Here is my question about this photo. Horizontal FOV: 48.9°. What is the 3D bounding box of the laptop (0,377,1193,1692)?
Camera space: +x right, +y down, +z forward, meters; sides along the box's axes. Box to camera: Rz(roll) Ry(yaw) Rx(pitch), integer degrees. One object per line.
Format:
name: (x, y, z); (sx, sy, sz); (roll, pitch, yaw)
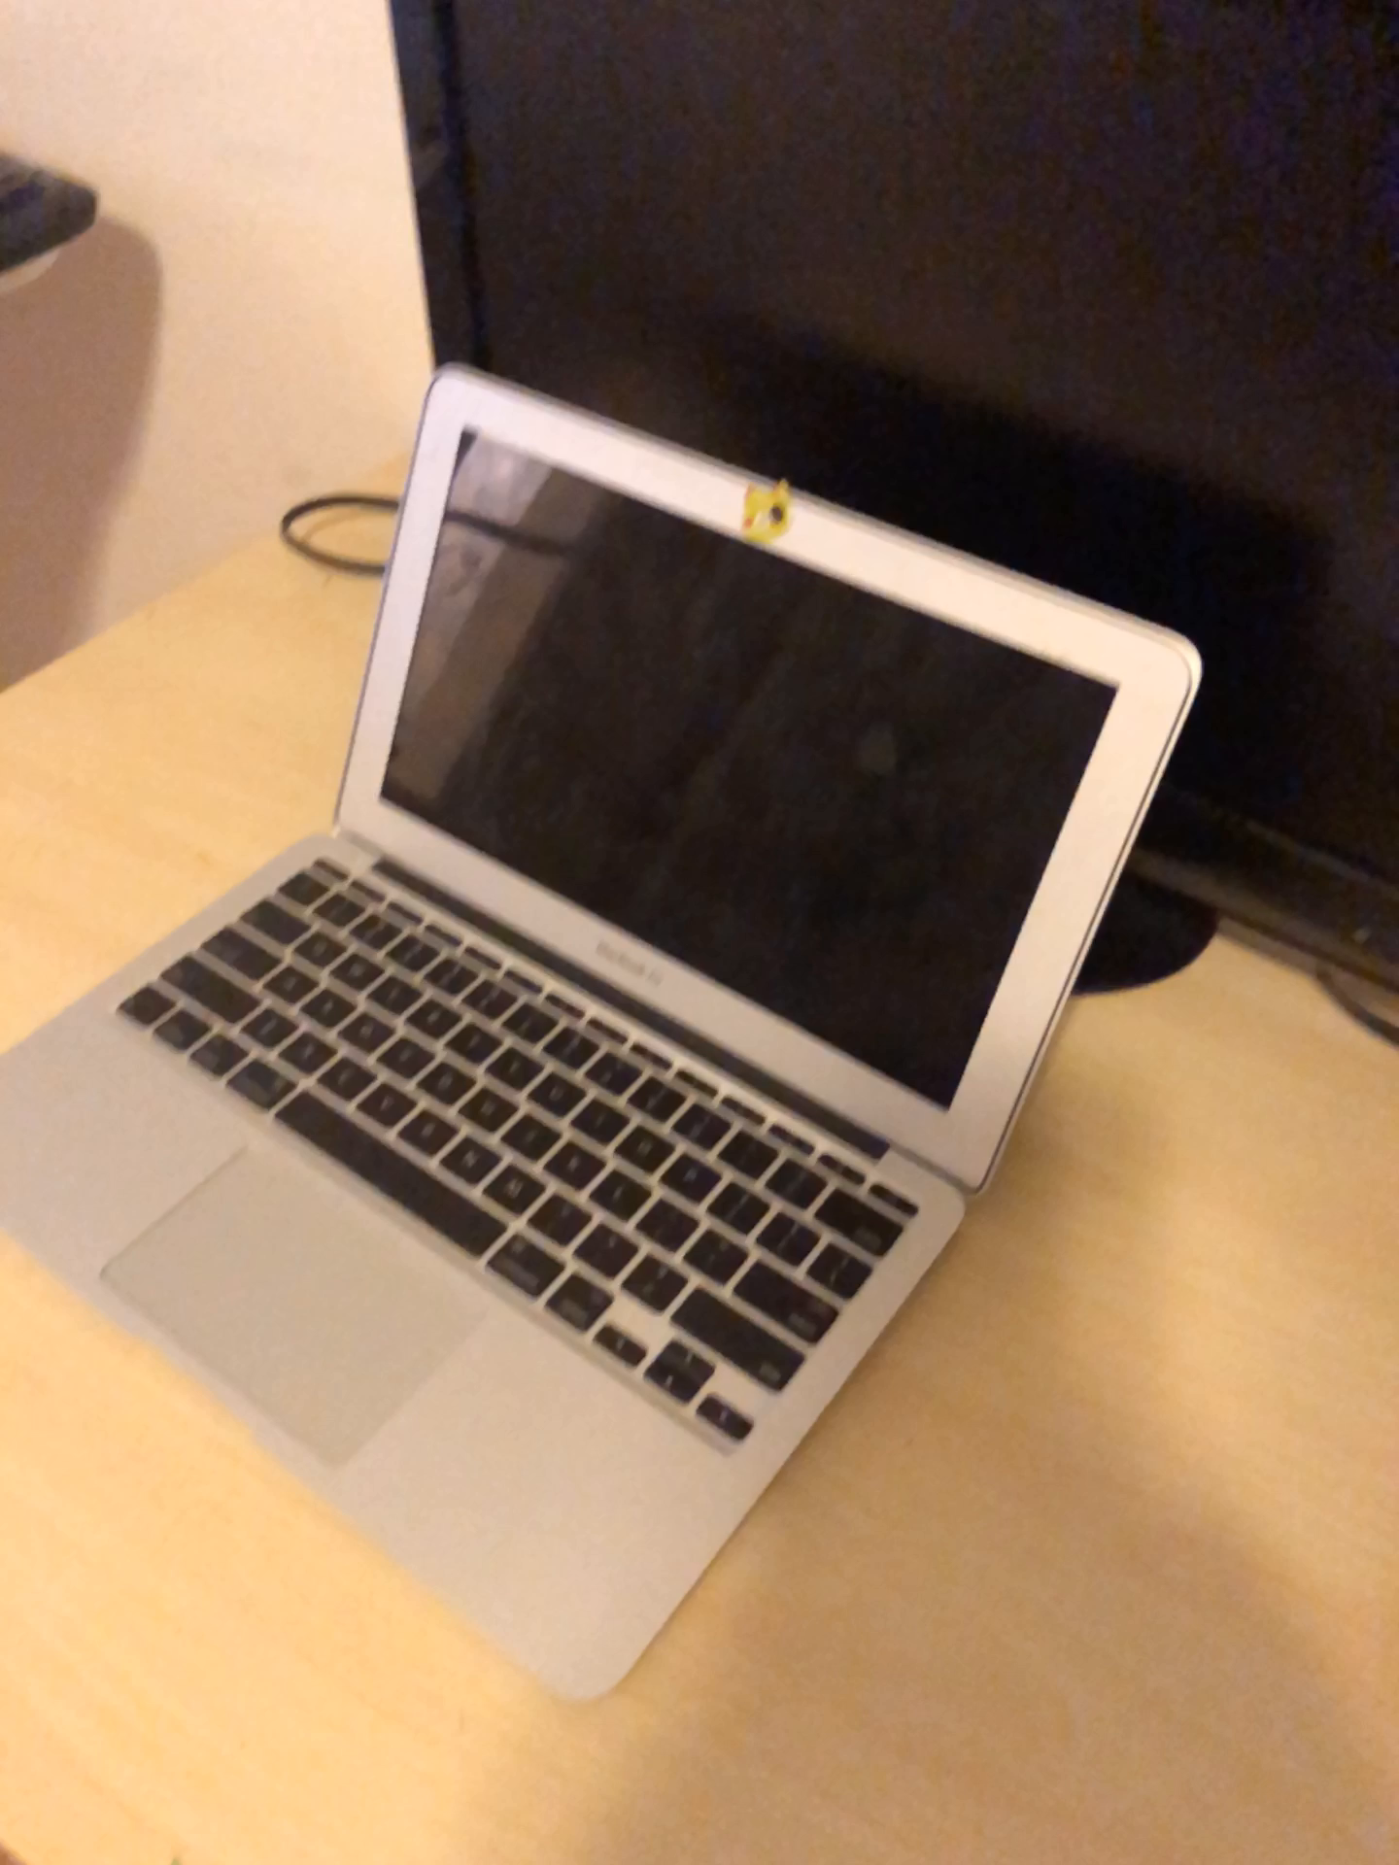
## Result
laptop: (-0.063, -0.004, 0.469); (0.291, 0.160, 0.275); (28, 51, 25)
